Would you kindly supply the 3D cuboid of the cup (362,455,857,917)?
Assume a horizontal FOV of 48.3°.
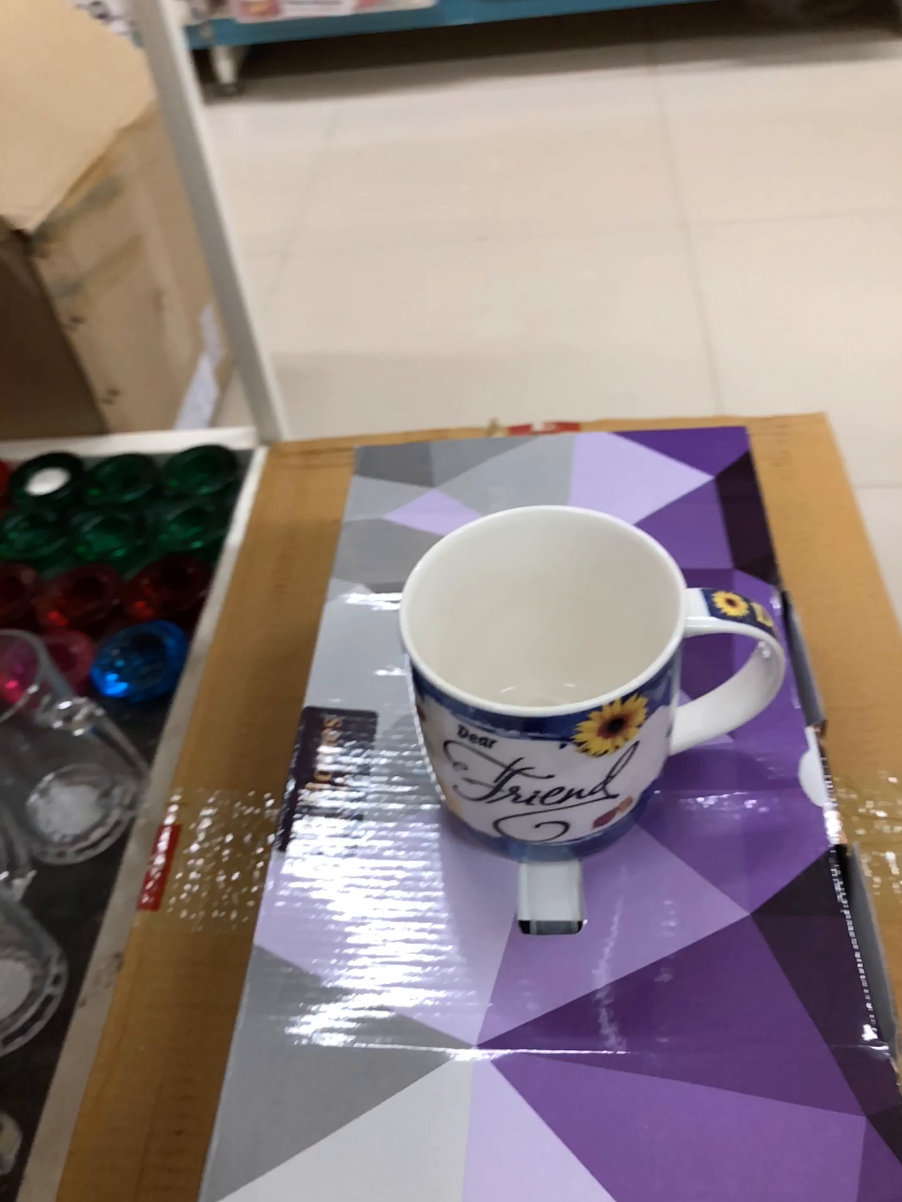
[{"bbox_3d":[0.045,0.027,0.322,0.120,0.089,0.080,-15,46,-6],"label":"cup"}]
